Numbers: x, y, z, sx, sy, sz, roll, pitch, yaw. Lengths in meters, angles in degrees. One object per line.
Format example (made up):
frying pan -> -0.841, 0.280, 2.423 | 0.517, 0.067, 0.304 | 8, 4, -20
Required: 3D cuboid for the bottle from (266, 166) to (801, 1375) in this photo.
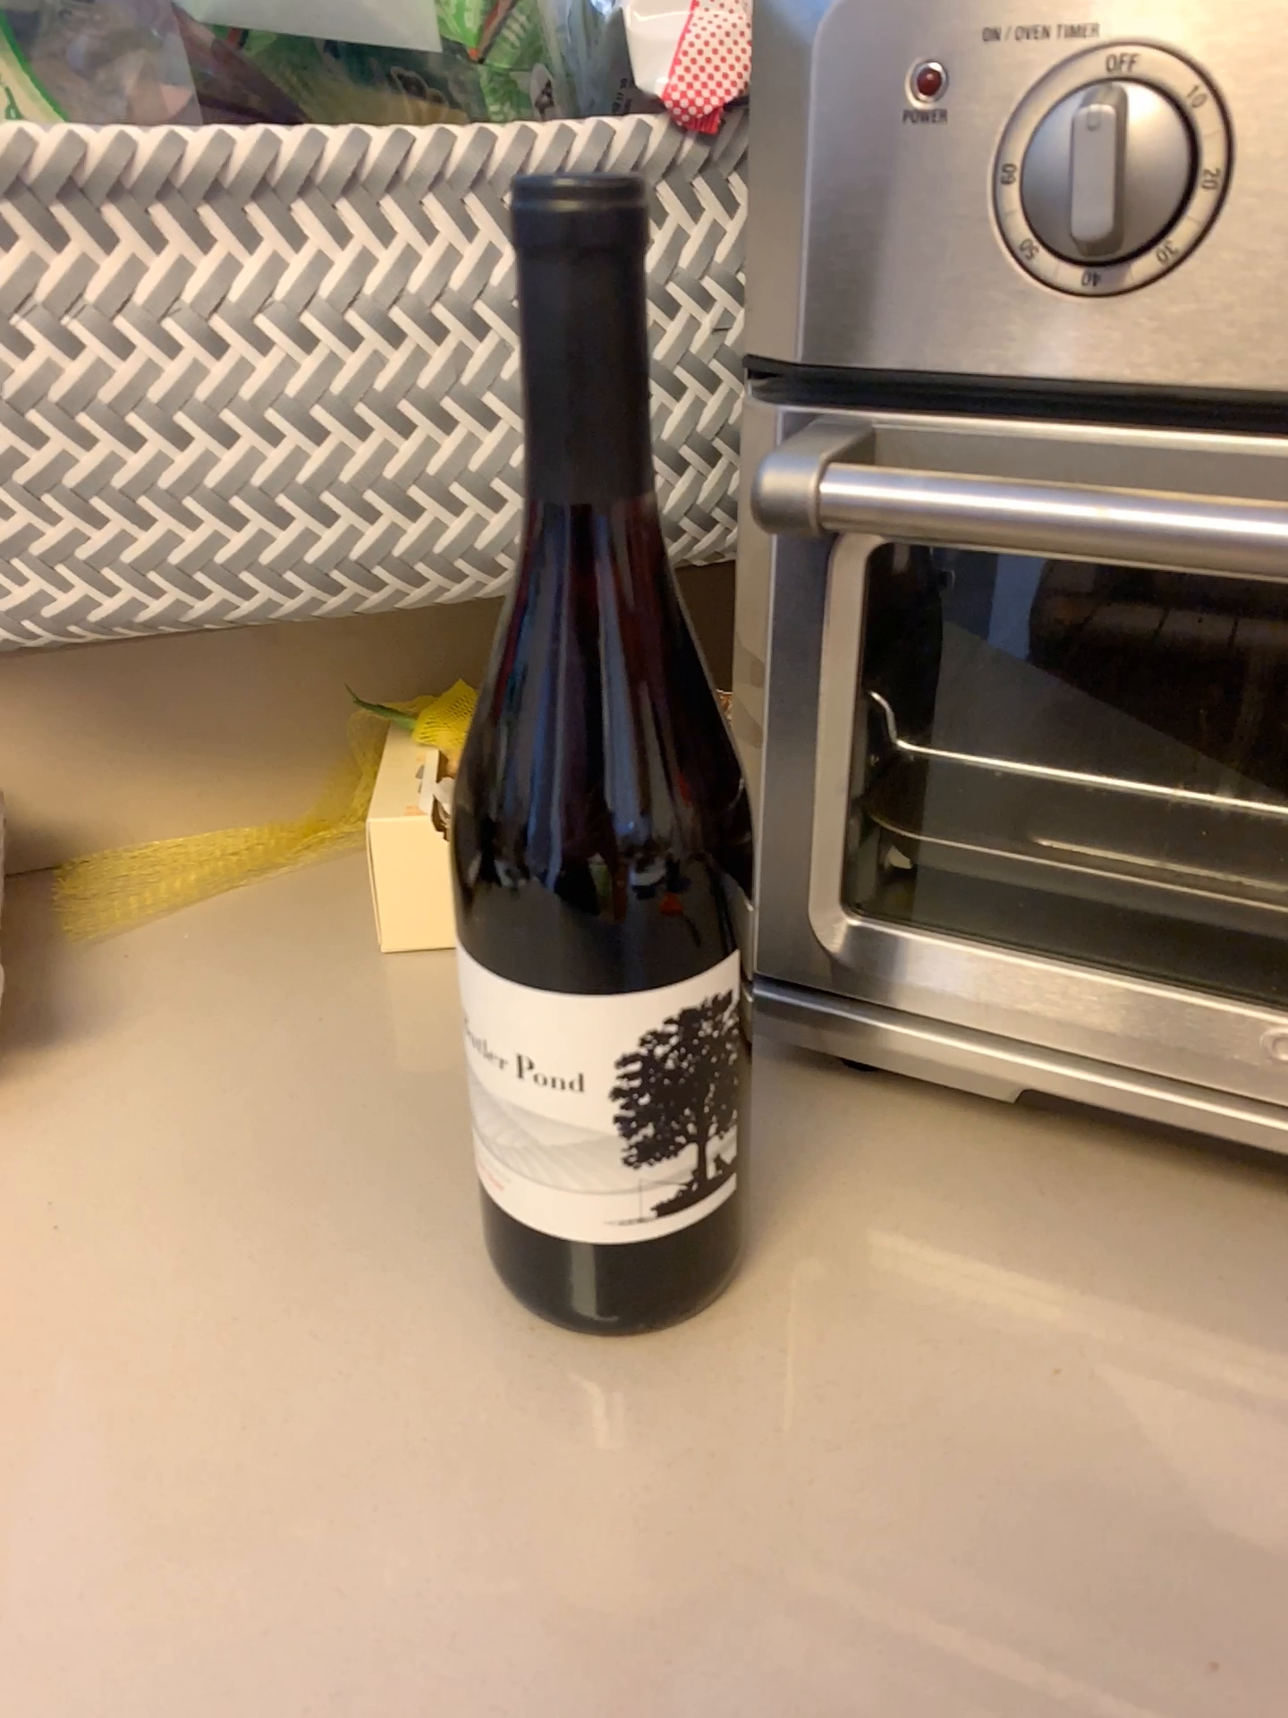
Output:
bottle -> -0.015, -0.010, 0.311 | 0.080, 0.268, 0.070 | 8, 29, 16
